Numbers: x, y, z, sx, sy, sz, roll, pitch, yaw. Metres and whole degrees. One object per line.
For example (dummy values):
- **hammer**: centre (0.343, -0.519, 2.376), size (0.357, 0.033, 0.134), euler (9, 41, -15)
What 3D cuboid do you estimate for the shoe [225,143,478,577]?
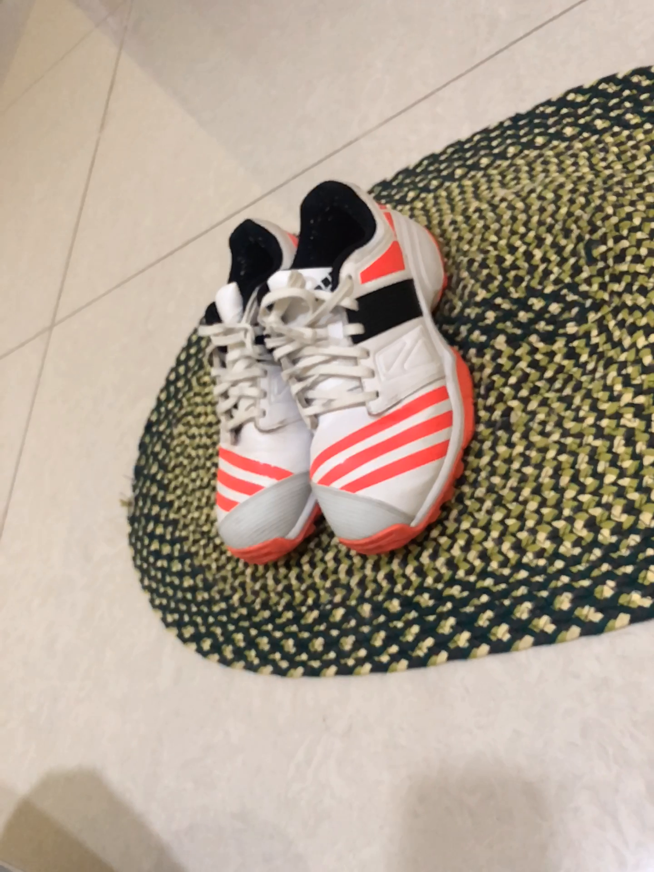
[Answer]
- **shoe**: centre (0.026, -0.047, 0.483), size (0.111, 0.099, 0.250), euler (-14, 58, 35)

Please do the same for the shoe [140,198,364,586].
- **shoe**: centre (-0.048, -0.034, 0.559), size (0.101, 0.090, 0.270), euler (-14, 58, 35)
